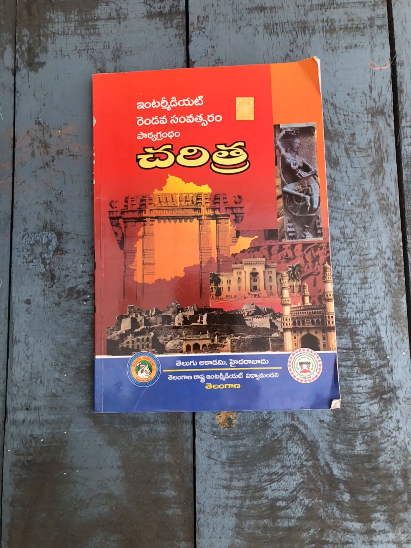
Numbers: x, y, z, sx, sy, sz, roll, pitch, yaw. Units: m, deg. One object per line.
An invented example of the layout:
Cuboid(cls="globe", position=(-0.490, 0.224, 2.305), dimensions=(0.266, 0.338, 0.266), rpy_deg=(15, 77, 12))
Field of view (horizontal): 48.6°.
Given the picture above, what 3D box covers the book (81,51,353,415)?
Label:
Cuboid(cls="book", position=(0.006, -0.034, 0.355), dimensions=(0.190, 0.040, 0.270), rpy_deg=(-1, 82, 2))
